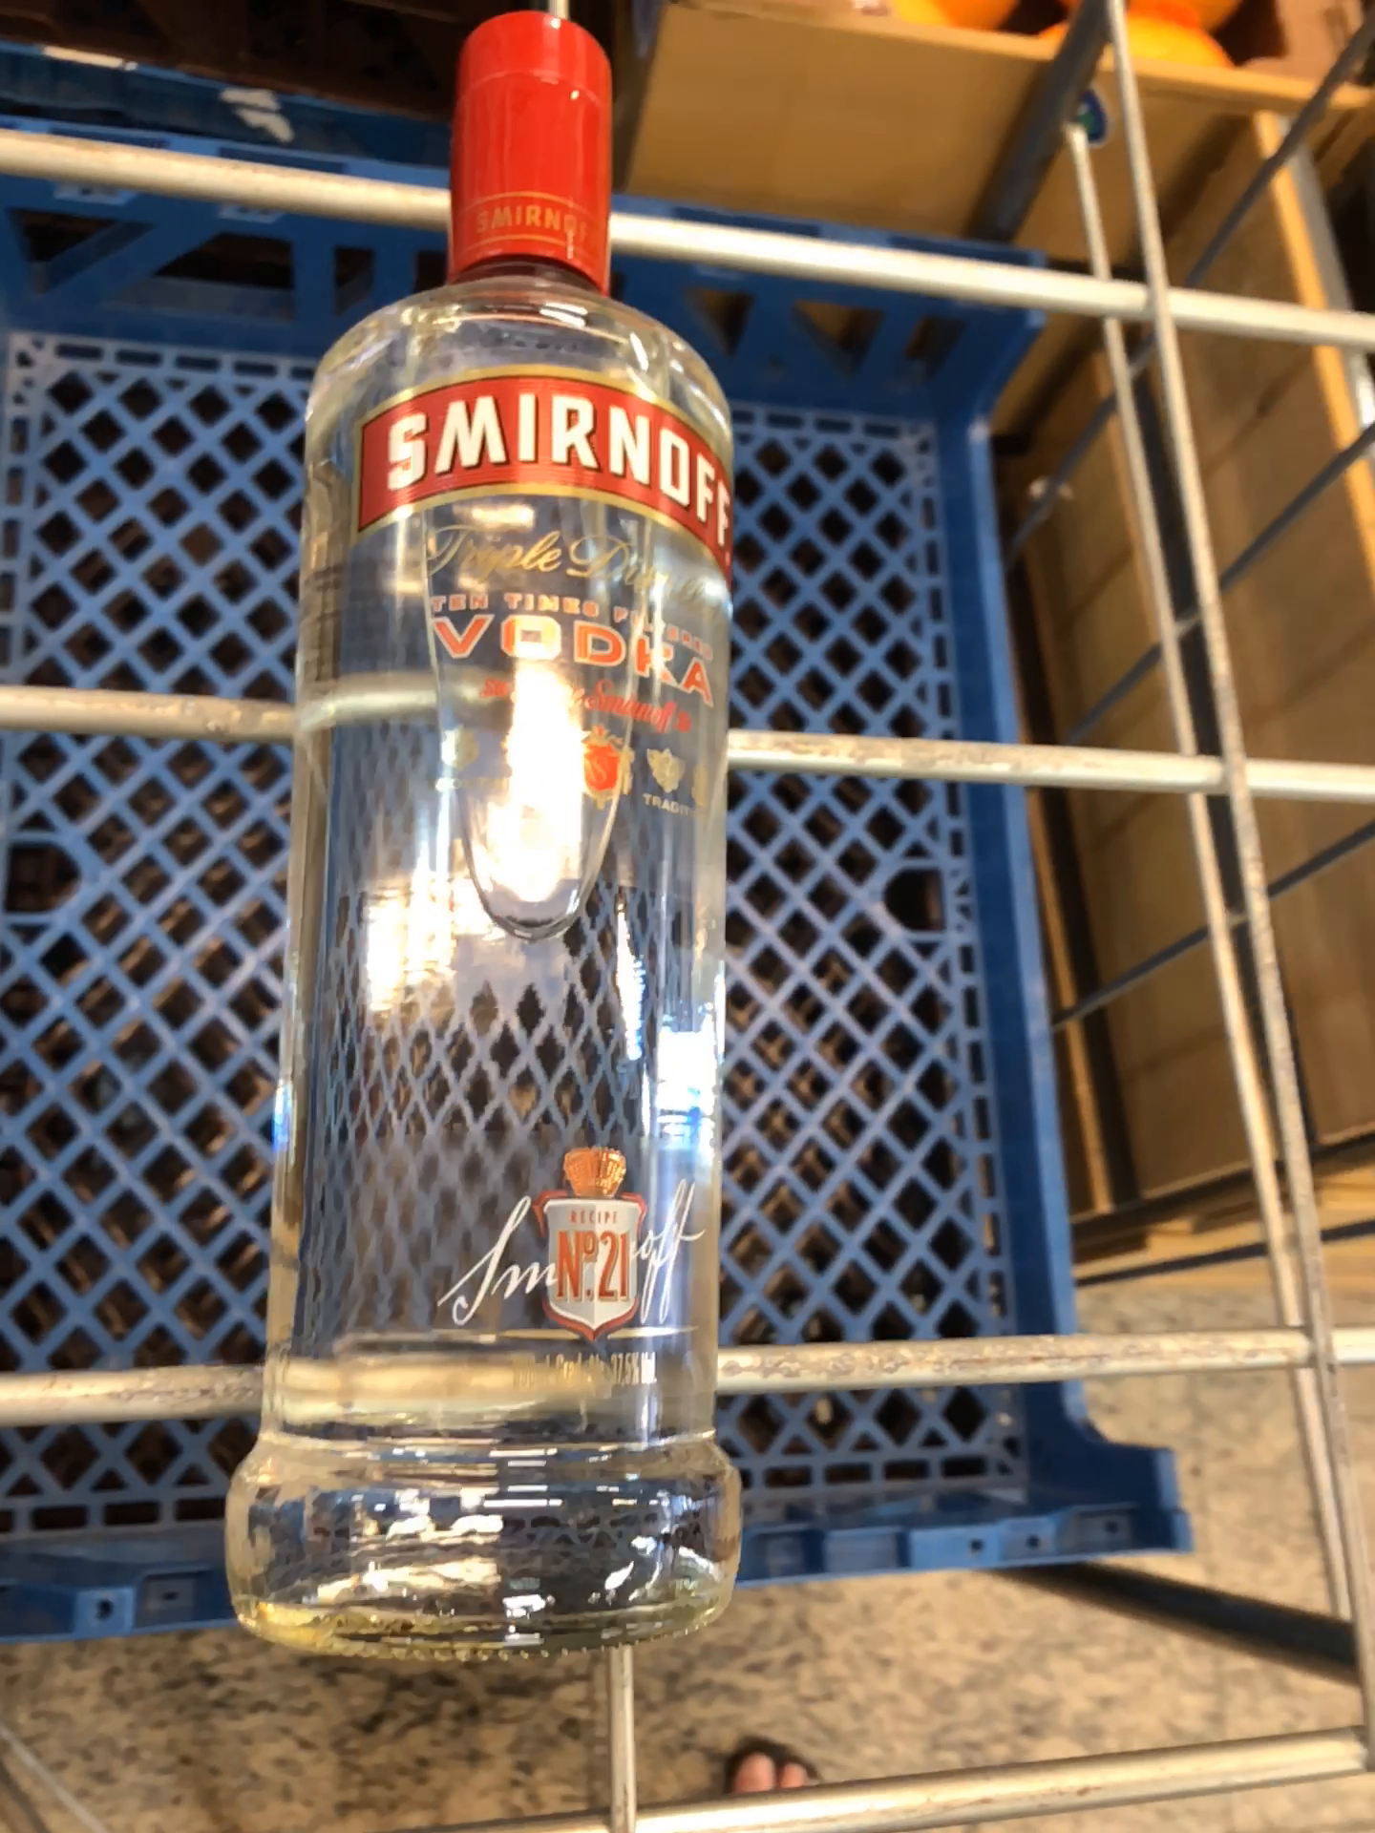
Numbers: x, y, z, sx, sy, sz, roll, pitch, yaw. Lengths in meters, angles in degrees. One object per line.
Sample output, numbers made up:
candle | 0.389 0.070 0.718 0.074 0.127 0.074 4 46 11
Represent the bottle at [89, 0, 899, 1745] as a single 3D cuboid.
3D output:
bottle | -0.034 -0.038 0.278 0.100 0.100 0.310 3 74 -13
